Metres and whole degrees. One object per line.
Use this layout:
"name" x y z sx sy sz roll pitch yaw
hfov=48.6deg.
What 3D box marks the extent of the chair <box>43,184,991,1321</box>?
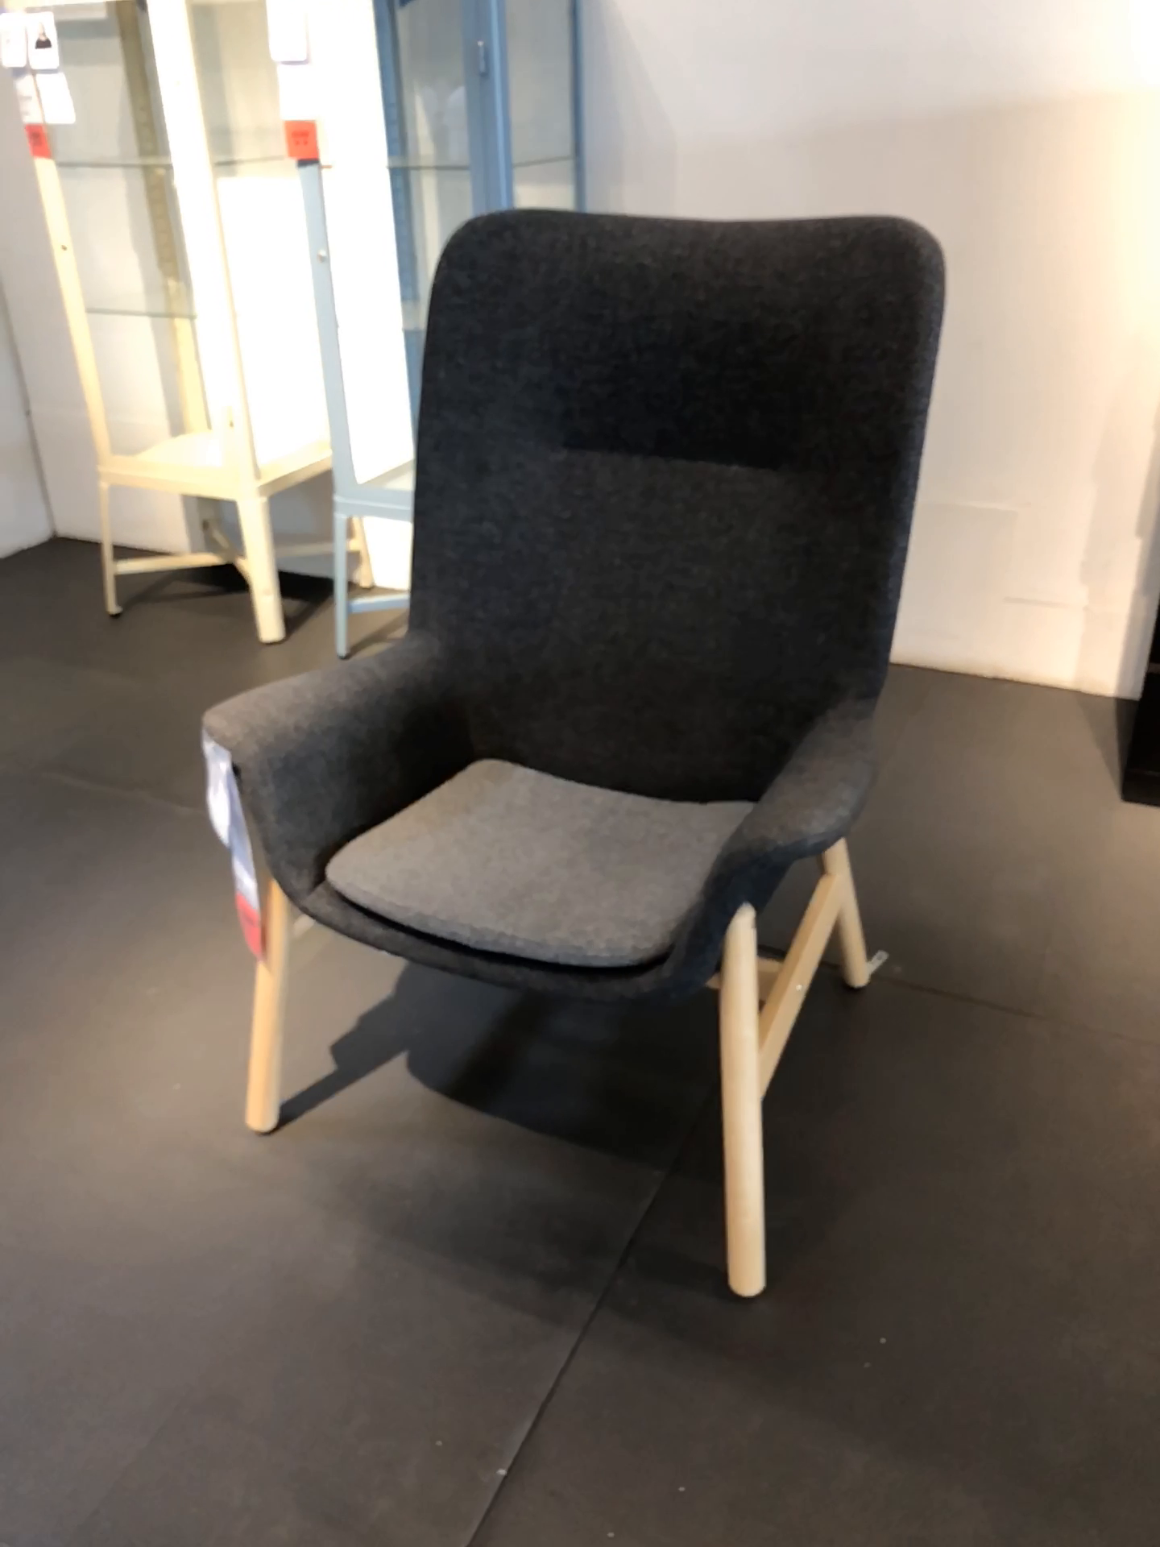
"chair" 0.003 -0.104 1.557 0.721 1.063 0.714 11 30 23
